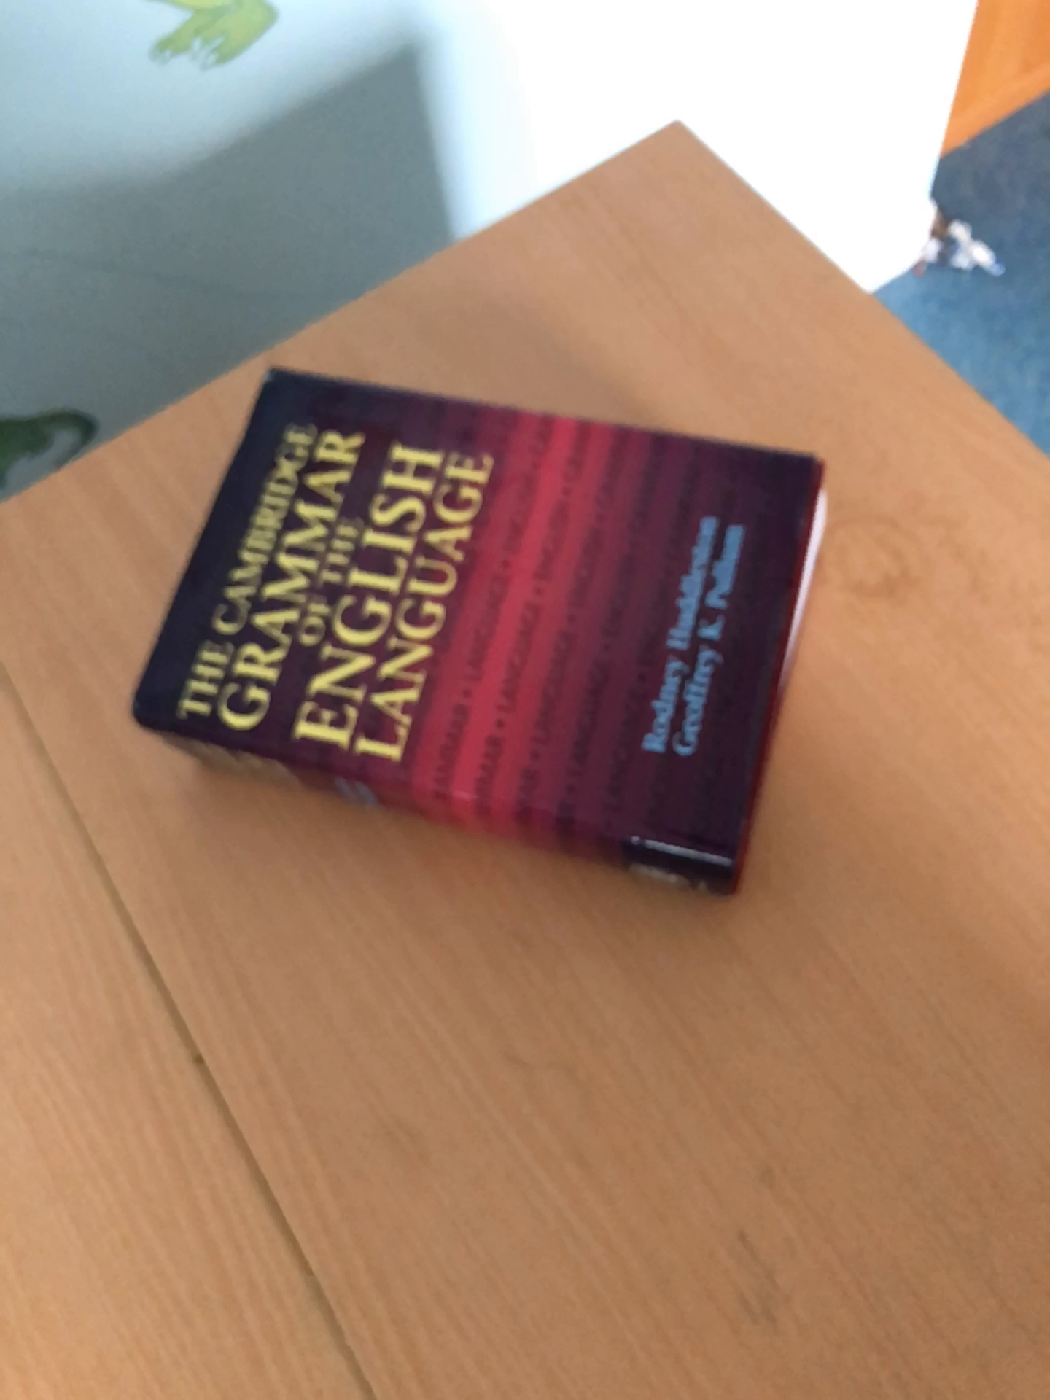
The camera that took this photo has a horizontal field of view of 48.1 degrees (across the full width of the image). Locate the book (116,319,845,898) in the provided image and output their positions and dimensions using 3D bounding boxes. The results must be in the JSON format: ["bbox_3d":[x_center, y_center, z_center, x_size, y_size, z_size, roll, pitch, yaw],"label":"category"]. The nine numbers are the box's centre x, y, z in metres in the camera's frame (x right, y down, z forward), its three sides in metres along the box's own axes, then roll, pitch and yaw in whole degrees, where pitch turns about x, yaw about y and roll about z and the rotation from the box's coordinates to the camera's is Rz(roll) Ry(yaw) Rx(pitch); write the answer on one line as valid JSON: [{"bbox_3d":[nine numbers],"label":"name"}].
[{"bbox_3d":[-0.012,-0.046,0.522,0.260,0.070,0.195,13,70,10],"label":"book"}]
